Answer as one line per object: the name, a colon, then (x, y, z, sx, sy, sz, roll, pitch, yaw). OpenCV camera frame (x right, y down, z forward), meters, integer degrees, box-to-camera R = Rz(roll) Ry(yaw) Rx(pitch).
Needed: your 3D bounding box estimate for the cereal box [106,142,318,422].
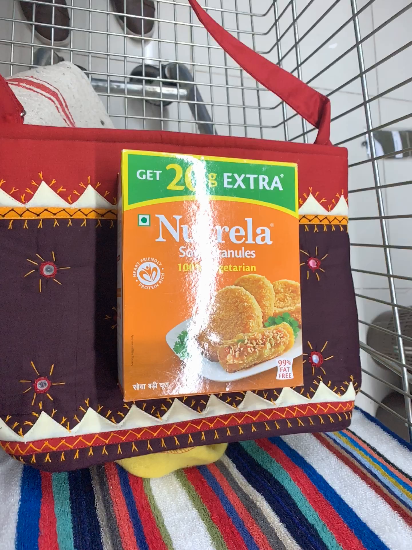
cereal box: (-0.001, 0.004, 0.272, 0.120, 0.060, 0.150, 0, 85, -15)
